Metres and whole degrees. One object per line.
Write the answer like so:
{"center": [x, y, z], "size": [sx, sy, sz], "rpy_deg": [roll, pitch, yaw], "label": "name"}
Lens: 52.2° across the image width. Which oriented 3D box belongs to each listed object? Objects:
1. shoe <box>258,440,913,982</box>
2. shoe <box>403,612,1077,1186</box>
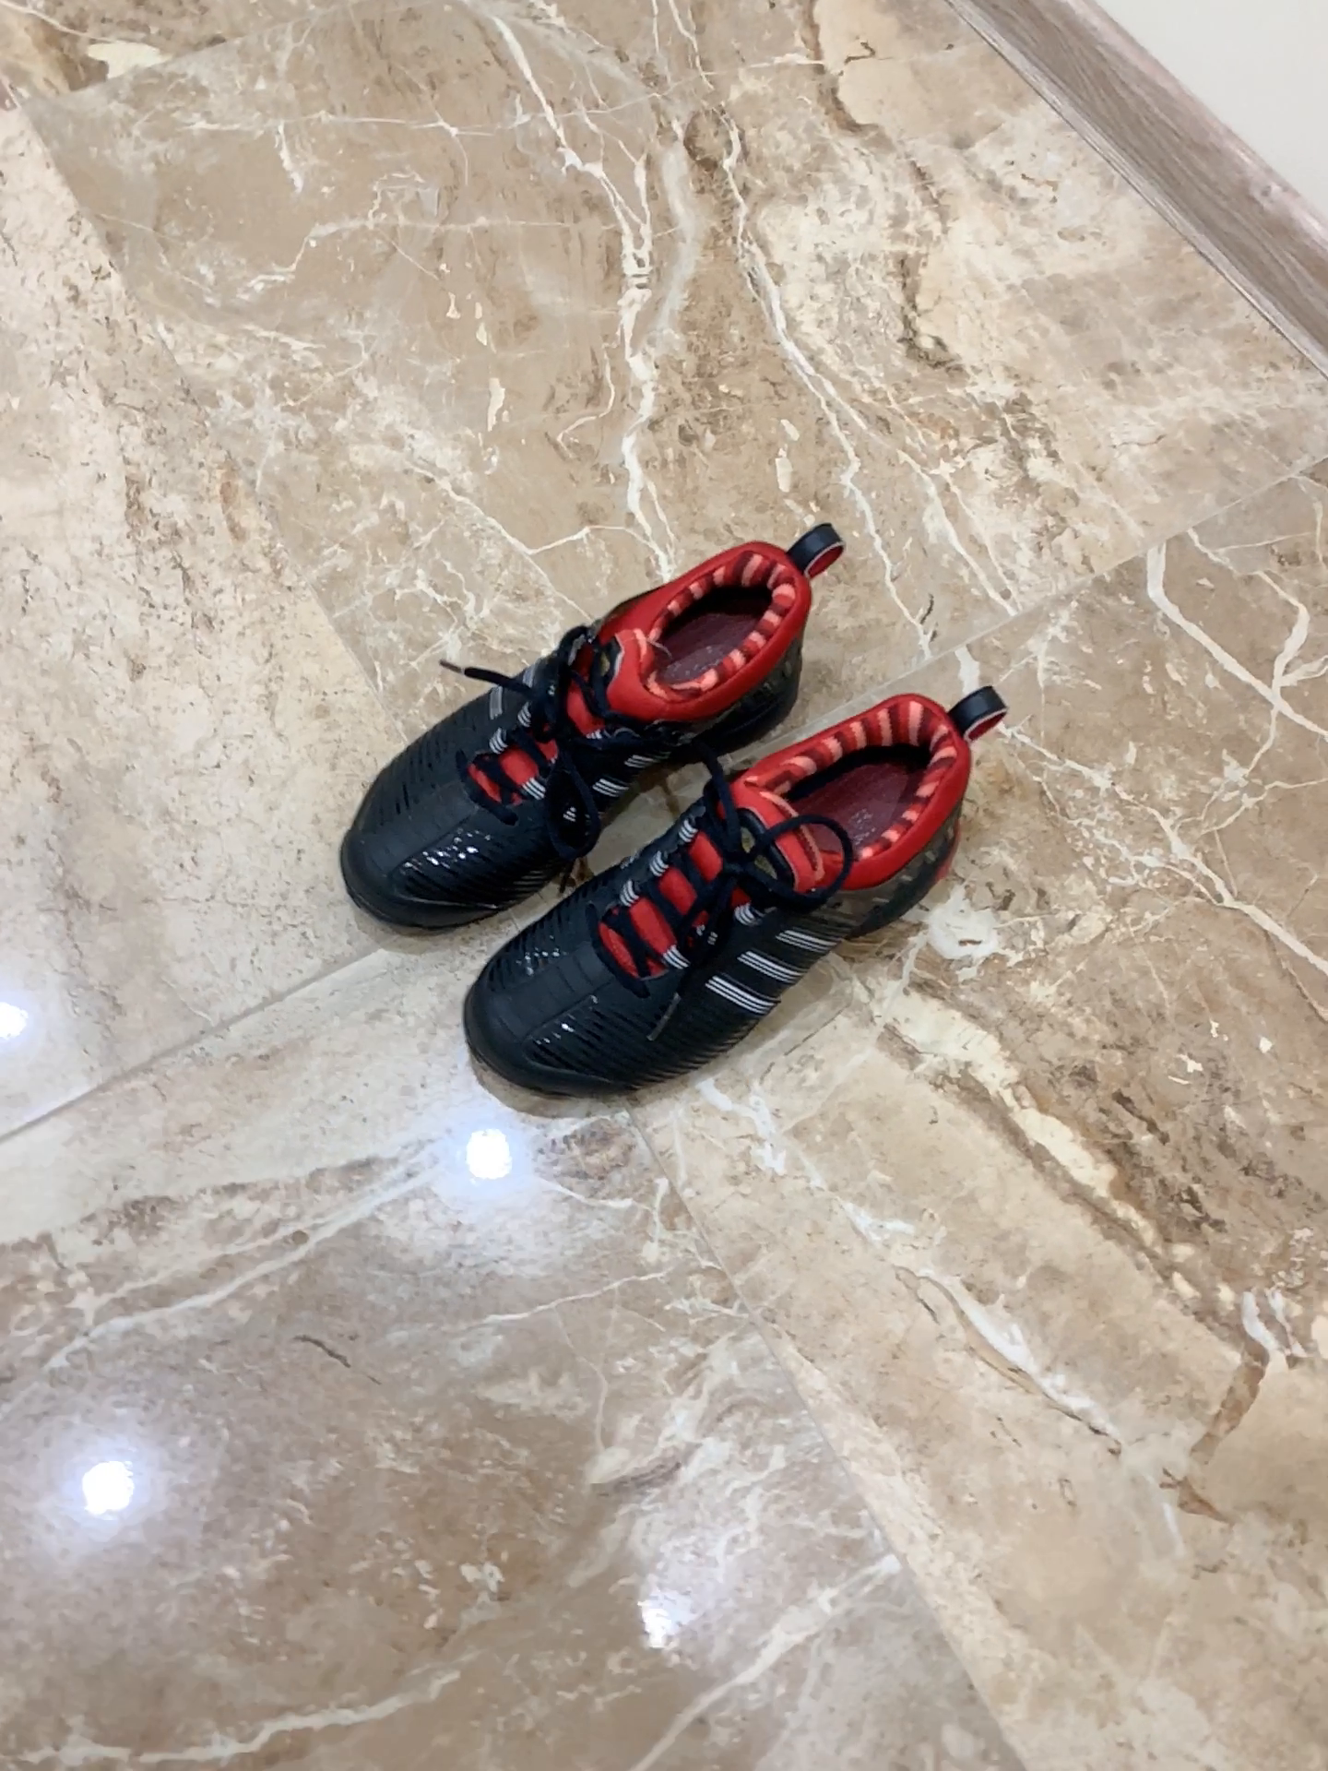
{"center": [-0.030, -0.081, 0.613], "size": [0.270, 0.090, 0.095], "rpy_deg": [-33, 72, -17], "label": "shoe"}
{"center": [0.034, 0.003, 0.587], "size": [0.270, 0.090, 0.095], "rpy_deg": [-33, 72, -17], "label": "shoe"}
